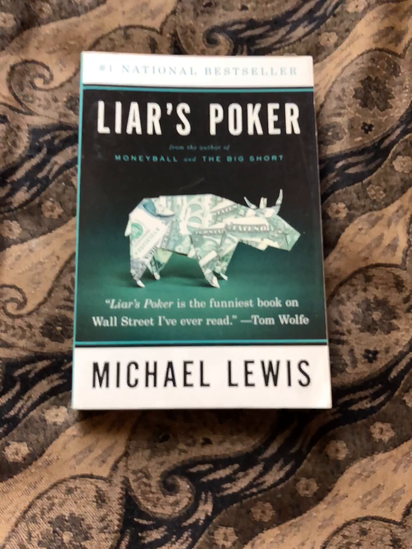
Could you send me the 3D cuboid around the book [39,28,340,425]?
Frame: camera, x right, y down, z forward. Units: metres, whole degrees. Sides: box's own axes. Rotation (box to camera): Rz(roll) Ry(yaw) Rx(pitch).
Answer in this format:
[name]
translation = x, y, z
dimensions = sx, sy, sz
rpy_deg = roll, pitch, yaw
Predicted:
[book]
translation = -0.006, -0.028, 0.265
dimensions = 0.150, 0.040, 0.210
rpy_deg = 1, 83, -1
